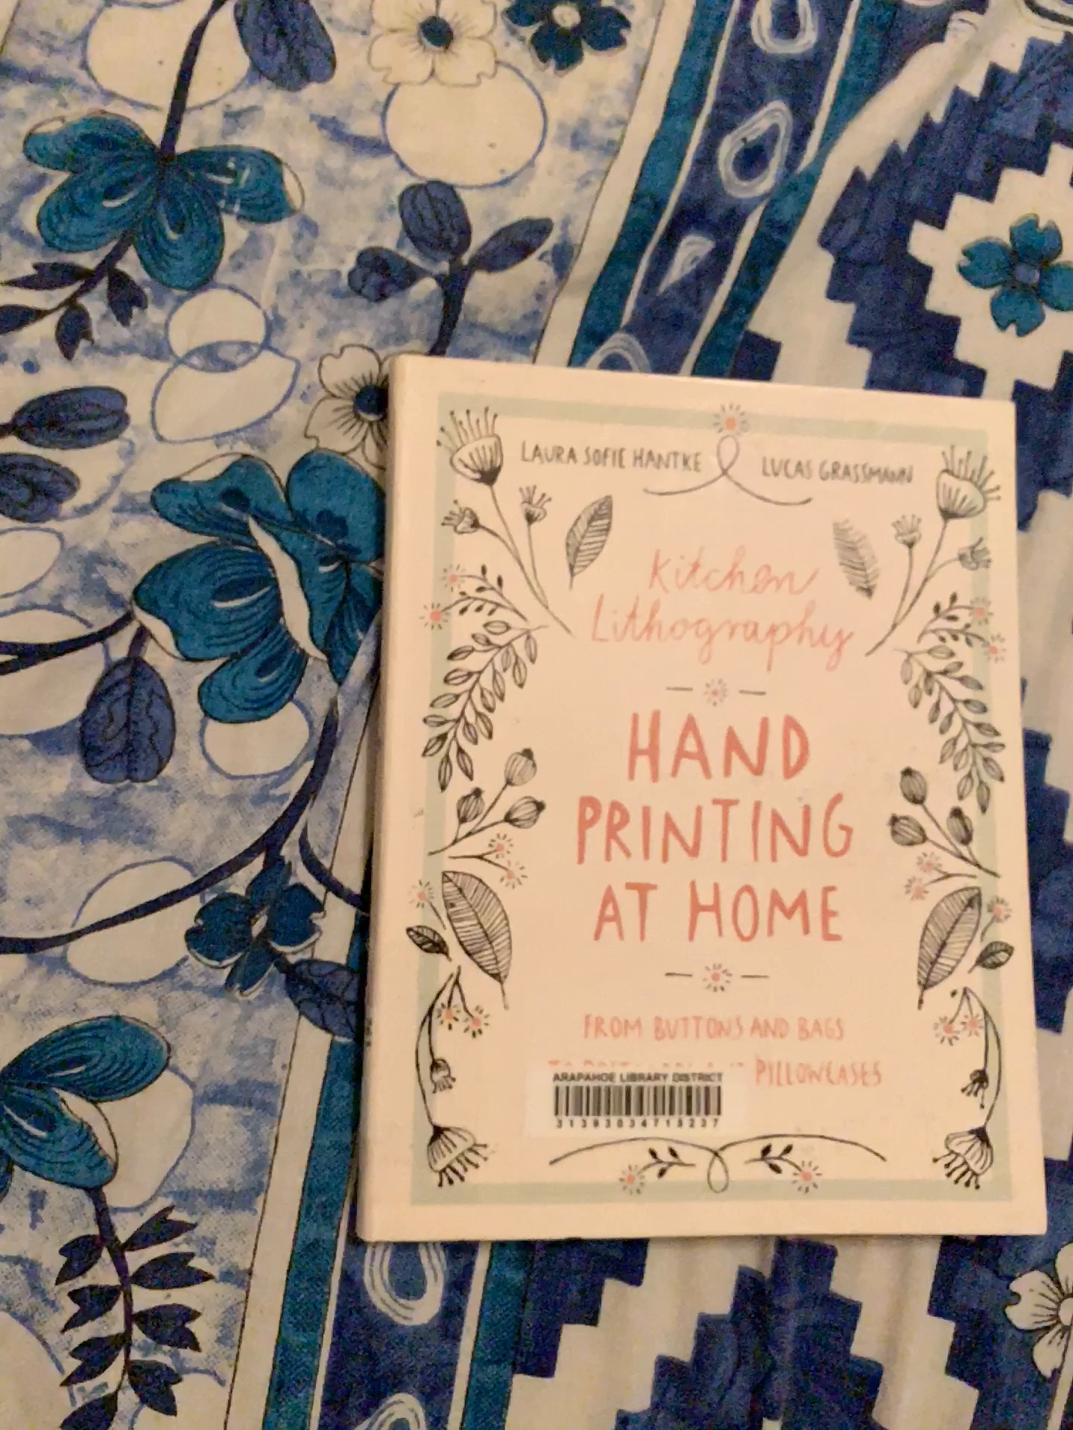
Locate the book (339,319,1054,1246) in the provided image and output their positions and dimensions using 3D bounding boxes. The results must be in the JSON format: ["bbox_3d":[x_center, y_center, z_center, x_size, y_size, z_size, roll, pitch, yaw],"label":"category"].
[{"bbox_3d":[0.042,0.015,0.284,0.170,0.020,0.220,2,82,-6],"label":"book"}]
